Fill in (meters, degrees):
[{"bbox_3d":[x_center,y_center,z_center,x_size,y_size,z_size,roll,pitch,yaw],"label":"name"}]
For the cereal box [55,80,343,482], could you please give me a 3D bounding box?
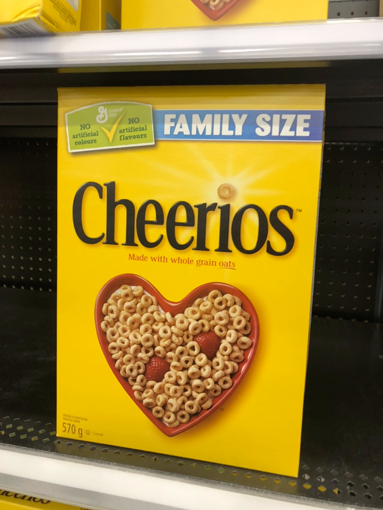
[{"bbox_3d":[-0.001,0.017,0.415,0.240,0.339,0.090,5,9,11],"label":"cereal box"}]
